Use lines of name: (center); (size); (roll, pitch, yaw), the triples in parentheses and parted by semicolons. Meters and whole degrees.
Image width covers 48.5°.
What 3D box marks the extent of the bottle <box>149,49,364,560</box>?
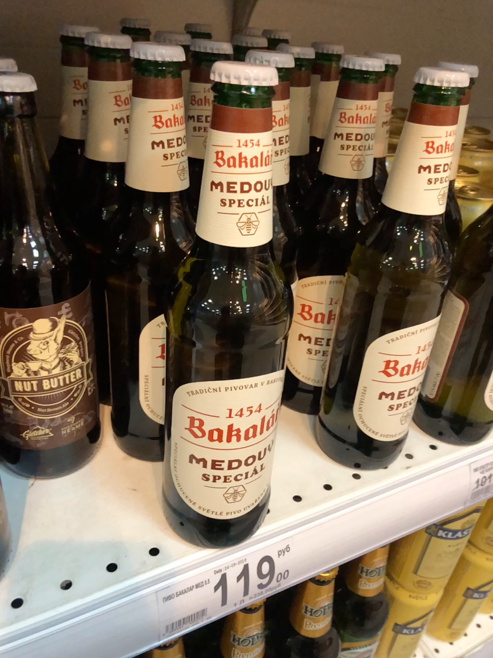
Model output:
bottle: (-0.009, 0.001, 0.280); (0.070, 0.249, 0.066); (4, 29, -2)

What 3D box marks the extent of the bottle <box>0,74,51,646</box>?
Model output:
bottle: (-0.142, 0.024, 0.234); (0.061, 0.233, 0.069); (13, 30, 14)

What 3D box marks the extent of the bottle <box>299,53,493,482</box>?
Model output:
bottle: (0.090, -0.026, 0.335); (0.065, 0.249, 0.061); (4, 29, -2)

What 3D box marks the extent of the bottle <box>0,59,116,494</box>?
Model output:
bottle: (-0.121, -0.021, 0.312); (0.069, 0.231, 0.061); (-10, 33, -26)
